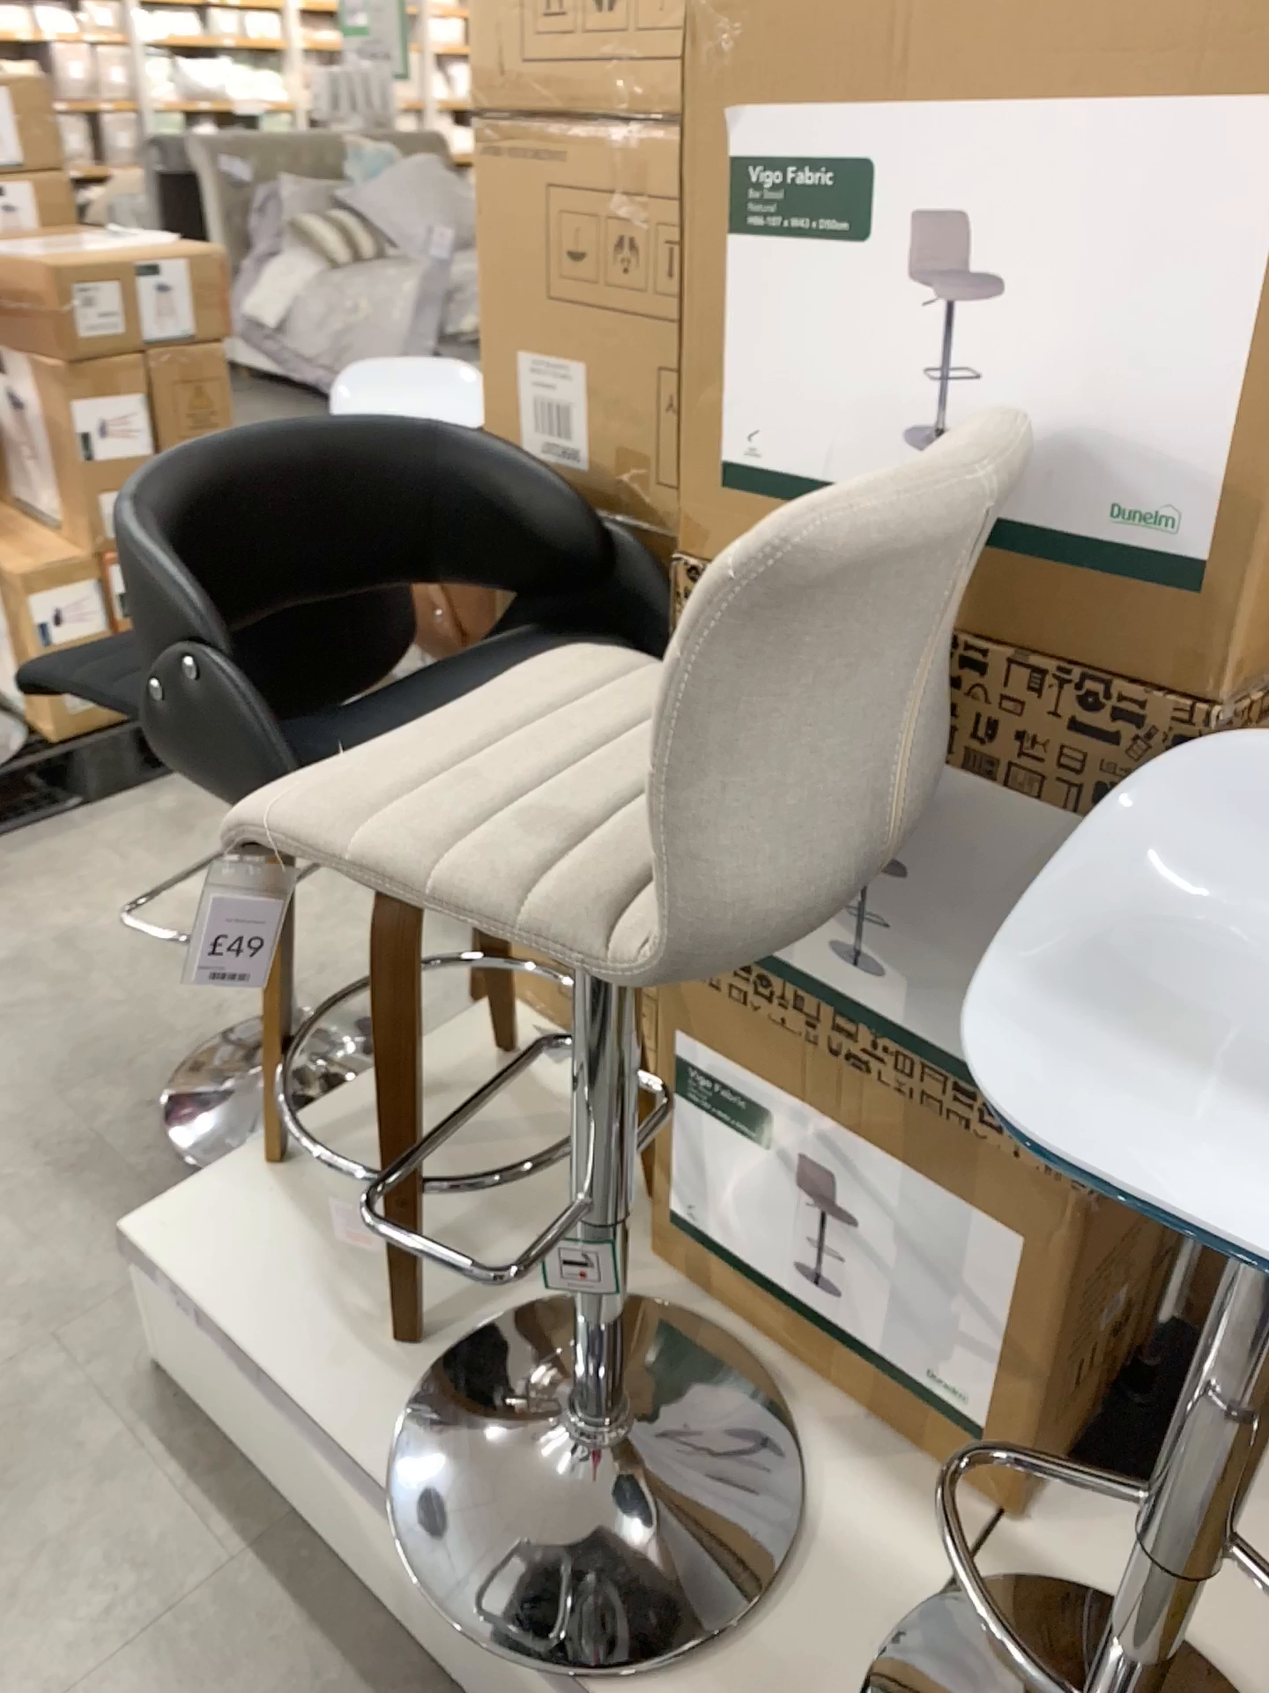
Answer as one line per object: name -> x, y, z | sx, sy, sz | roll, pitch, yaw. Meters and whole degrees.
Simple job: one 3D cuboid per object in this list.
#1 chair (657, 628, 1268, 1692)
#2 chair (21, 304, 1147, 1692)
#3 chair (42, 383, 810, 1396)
chair -> 0.304, 0.357, 0.824 | 0.406, 0.826, 0.390 | 22, 36, 32
chair -> -0.030, 0.148, 1.041 | 0.510, 0.984, 0.466 | 22, 36, 32
chair -> -0.200, 0.009, 1.453 | 0.490, 0.865, 0.536 | 27, 38, 37
